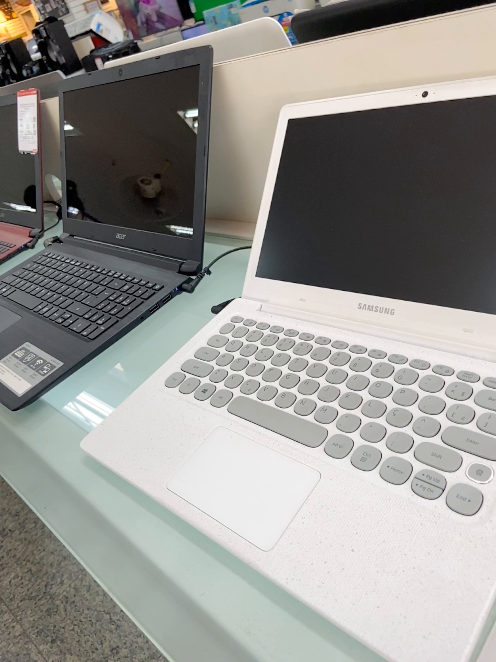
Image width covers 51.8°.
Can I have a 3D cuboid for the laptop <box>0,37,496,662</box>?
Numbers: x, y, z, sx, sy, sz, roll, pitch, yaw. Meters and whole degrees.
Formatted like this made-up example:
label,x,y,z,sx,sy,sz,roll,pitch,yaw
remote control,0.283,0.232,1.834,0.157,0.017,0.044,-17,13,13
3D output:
label,x,y,z,sx,sy,sz,roll,pitch,yaw
laptop,0.060,-0.042,0.371,0.315,0.140,0.361,14,49,42
